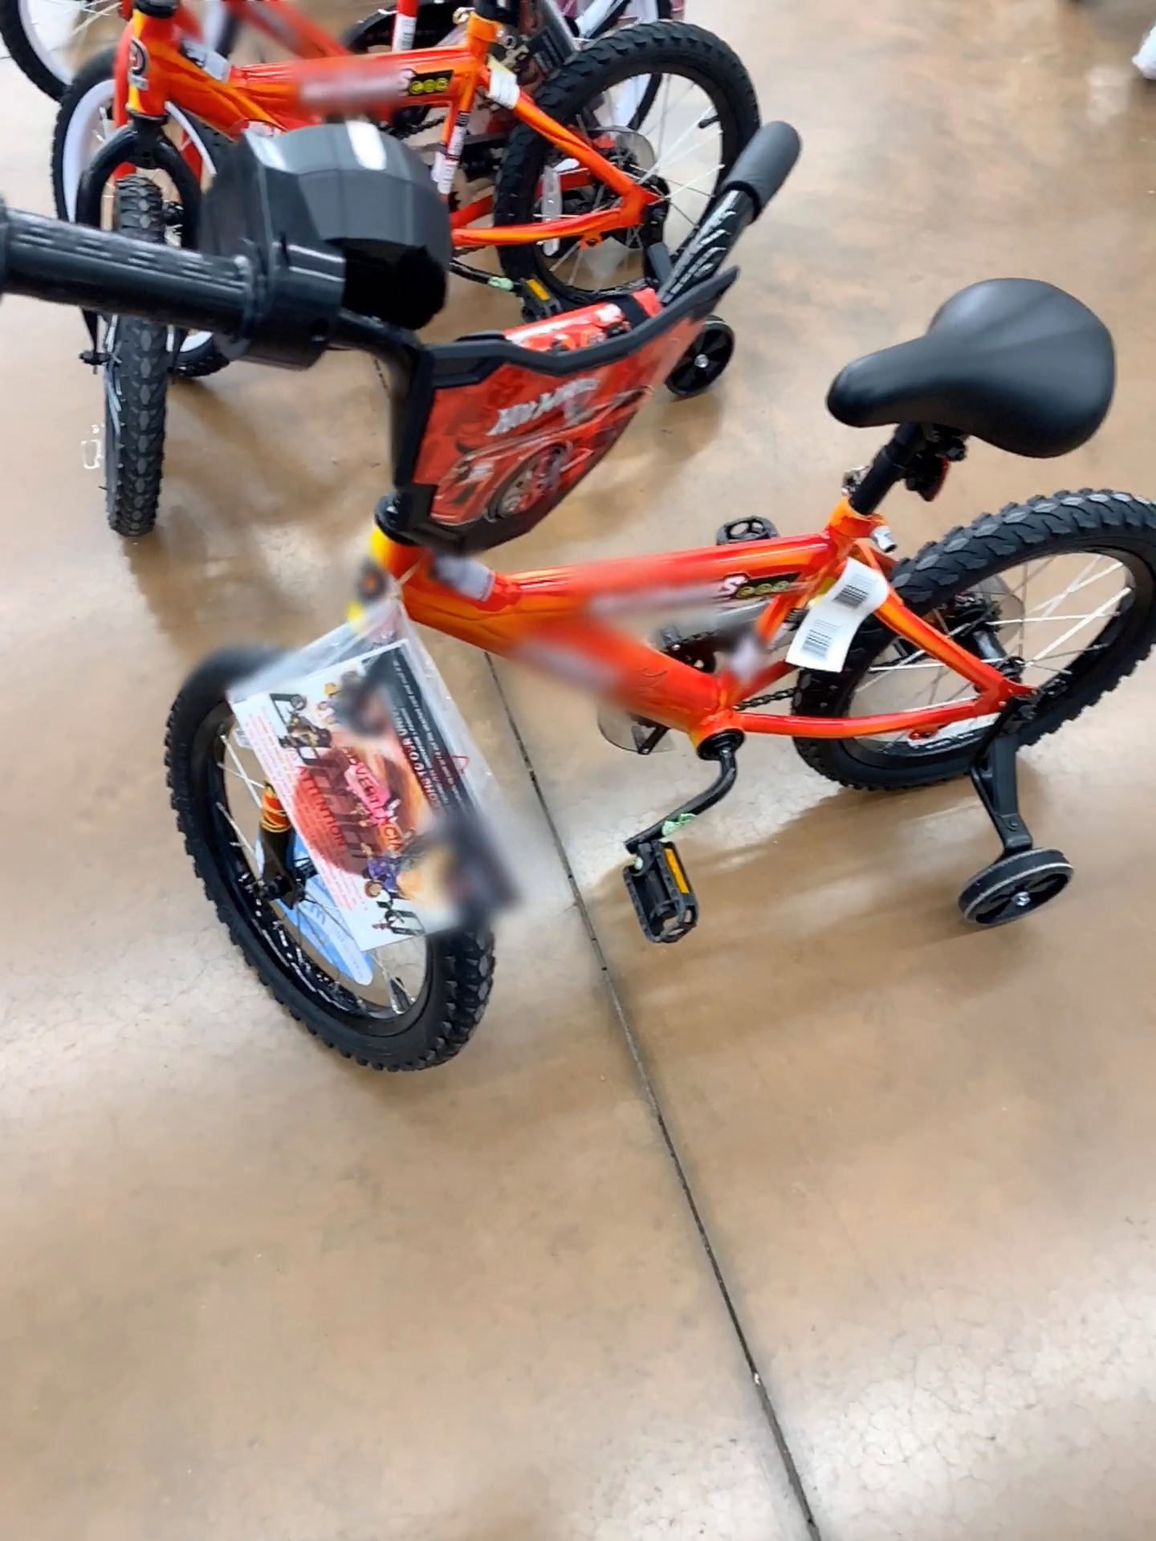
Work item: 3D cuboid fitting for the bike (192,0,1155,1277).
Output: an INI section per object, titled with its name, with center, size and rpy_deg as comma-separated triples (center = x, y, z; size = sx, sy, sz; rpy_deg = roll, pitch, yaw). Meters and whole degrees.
[bike]
center = 0.178, -0.116, 0.992
size = 0.740, 0.825, 0.511
rpy_deg = -27, 60, -11
